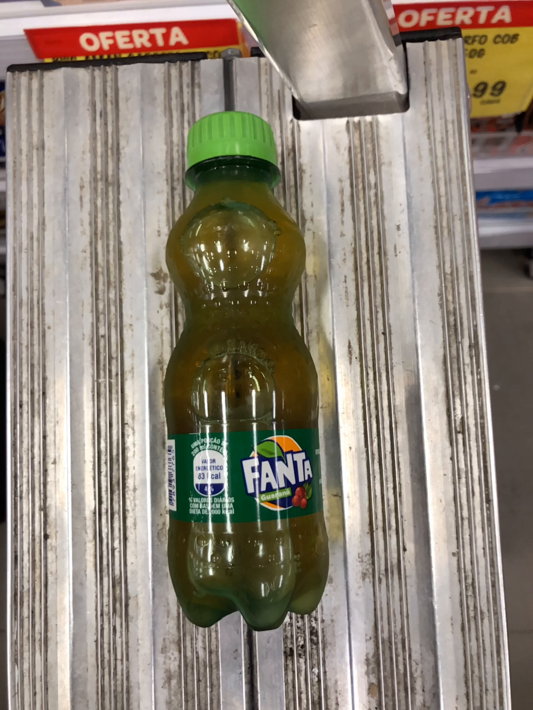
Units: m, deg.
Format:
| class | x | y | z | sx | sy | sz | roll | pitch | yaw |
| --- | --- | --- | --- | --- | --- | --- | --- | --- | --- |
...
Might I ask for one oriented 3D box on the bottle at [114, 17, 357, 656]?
| class | x | y | z | sx | sy | sz | roll | pitch | yaw |
| --- | --- | --- | --- | --- | --- | --- | --- | --- | --- |
| bottle | -0.013 | -0.006 | 0.192 | 0.050 | 0.050 | 0.170 | -12 | 78 | 48 |
